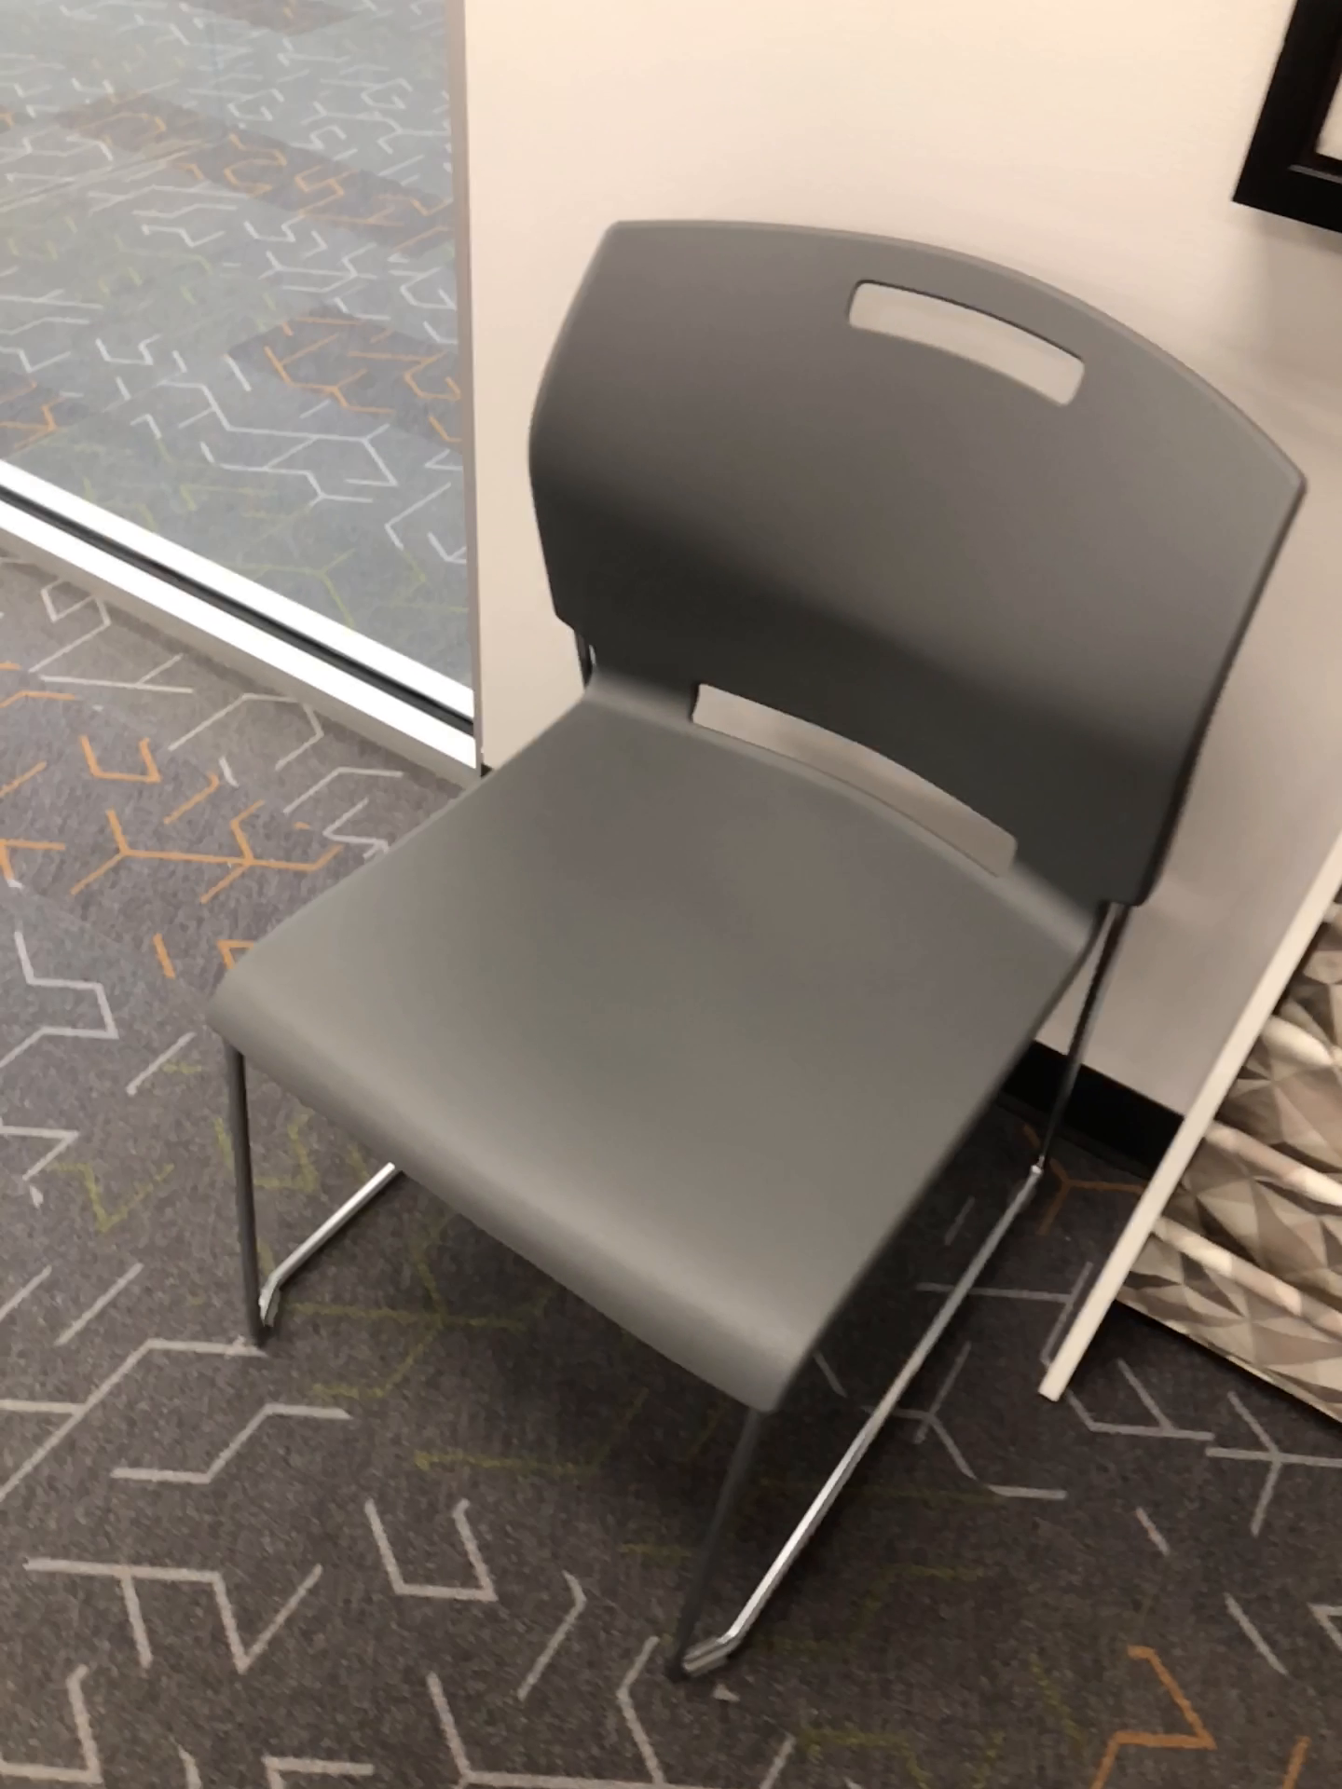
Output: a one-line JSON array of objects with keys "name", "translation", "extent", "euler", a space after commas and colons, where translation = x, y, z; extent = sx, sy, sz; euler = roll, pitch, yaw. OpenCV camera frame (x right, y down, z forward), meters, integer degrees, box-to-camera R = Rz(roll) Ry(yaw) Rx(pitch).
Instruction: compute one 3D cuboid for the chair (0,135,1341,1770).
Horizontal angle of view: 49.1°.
[{"name": "chair", "translation": [0.022, 0.018, 1.038], "extent": [0.581, 0.735, 0.673], "euler": [29, 50, 21]}]
